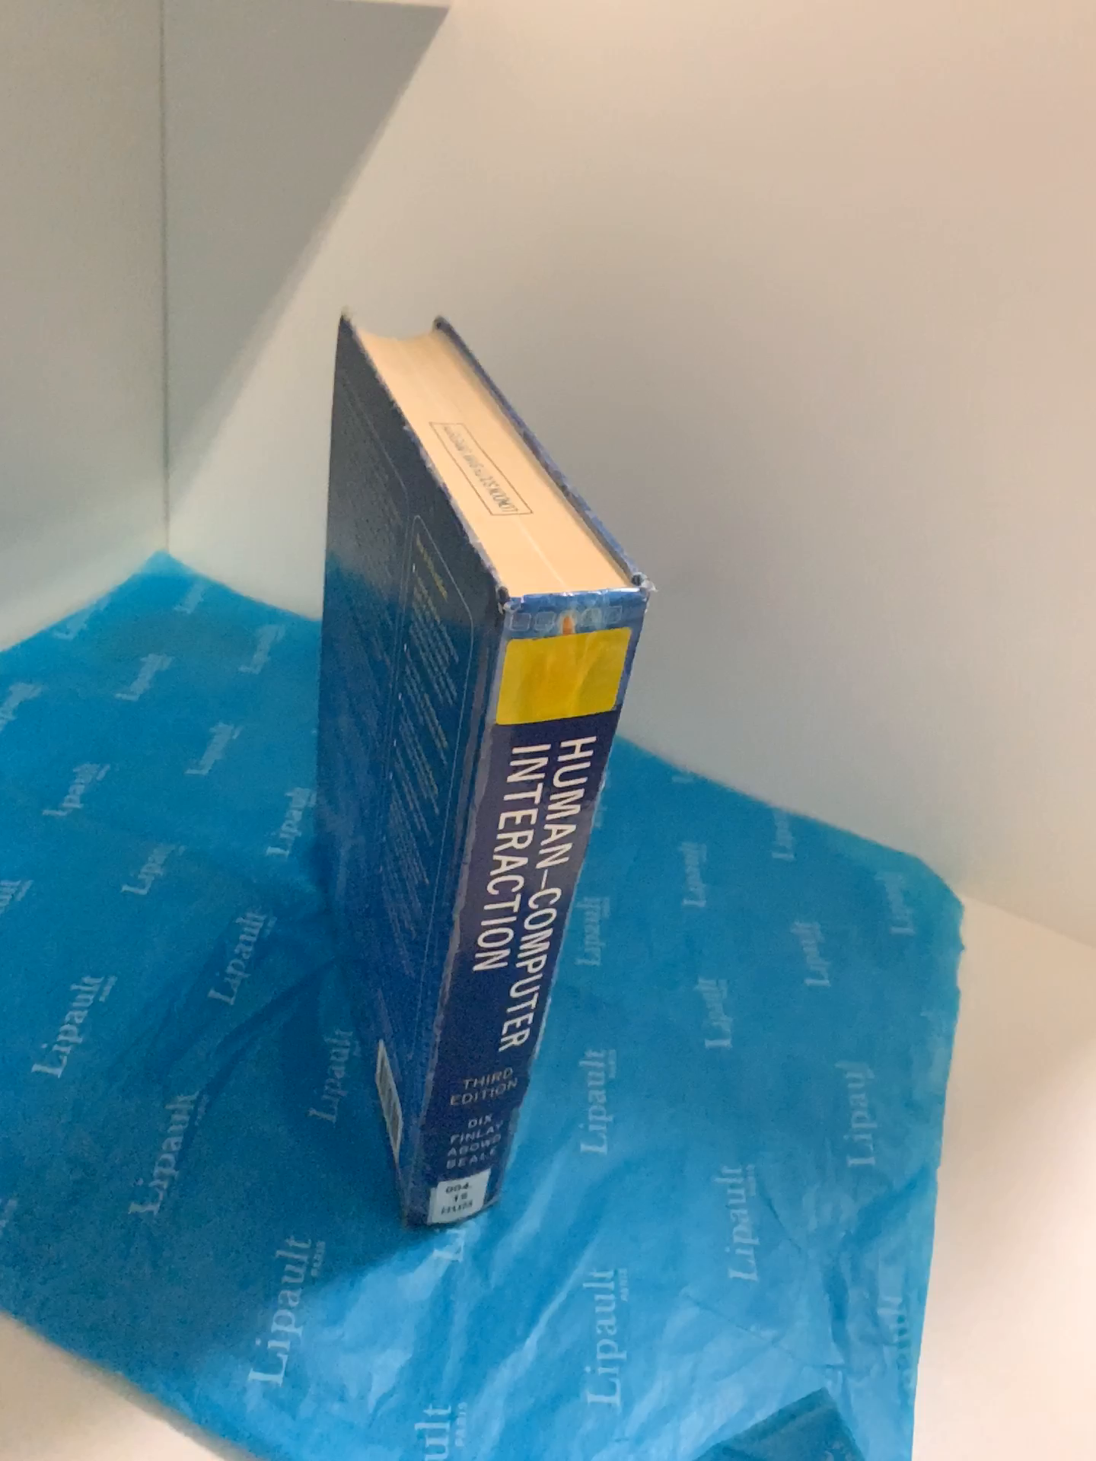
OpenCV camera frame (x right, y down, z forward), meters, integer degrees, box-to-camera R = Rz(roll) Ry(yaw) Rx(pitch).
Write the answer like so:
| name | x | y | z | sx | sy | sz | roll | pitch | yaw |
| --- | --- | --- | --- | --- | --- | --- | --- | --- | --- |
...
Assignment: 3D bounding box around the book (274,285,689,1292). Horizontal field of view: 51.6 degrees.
| name | x | y | z | sx | sy | sz | roll | pitch | yaw |
| --- | --- | --- | --- | --- | --- | --- | --- | --- | --- |
| book | -0.049 | 0.010 | 0.392 | 0.050 | 0.258 | 0.222 | -4 | 35 | -21 |
